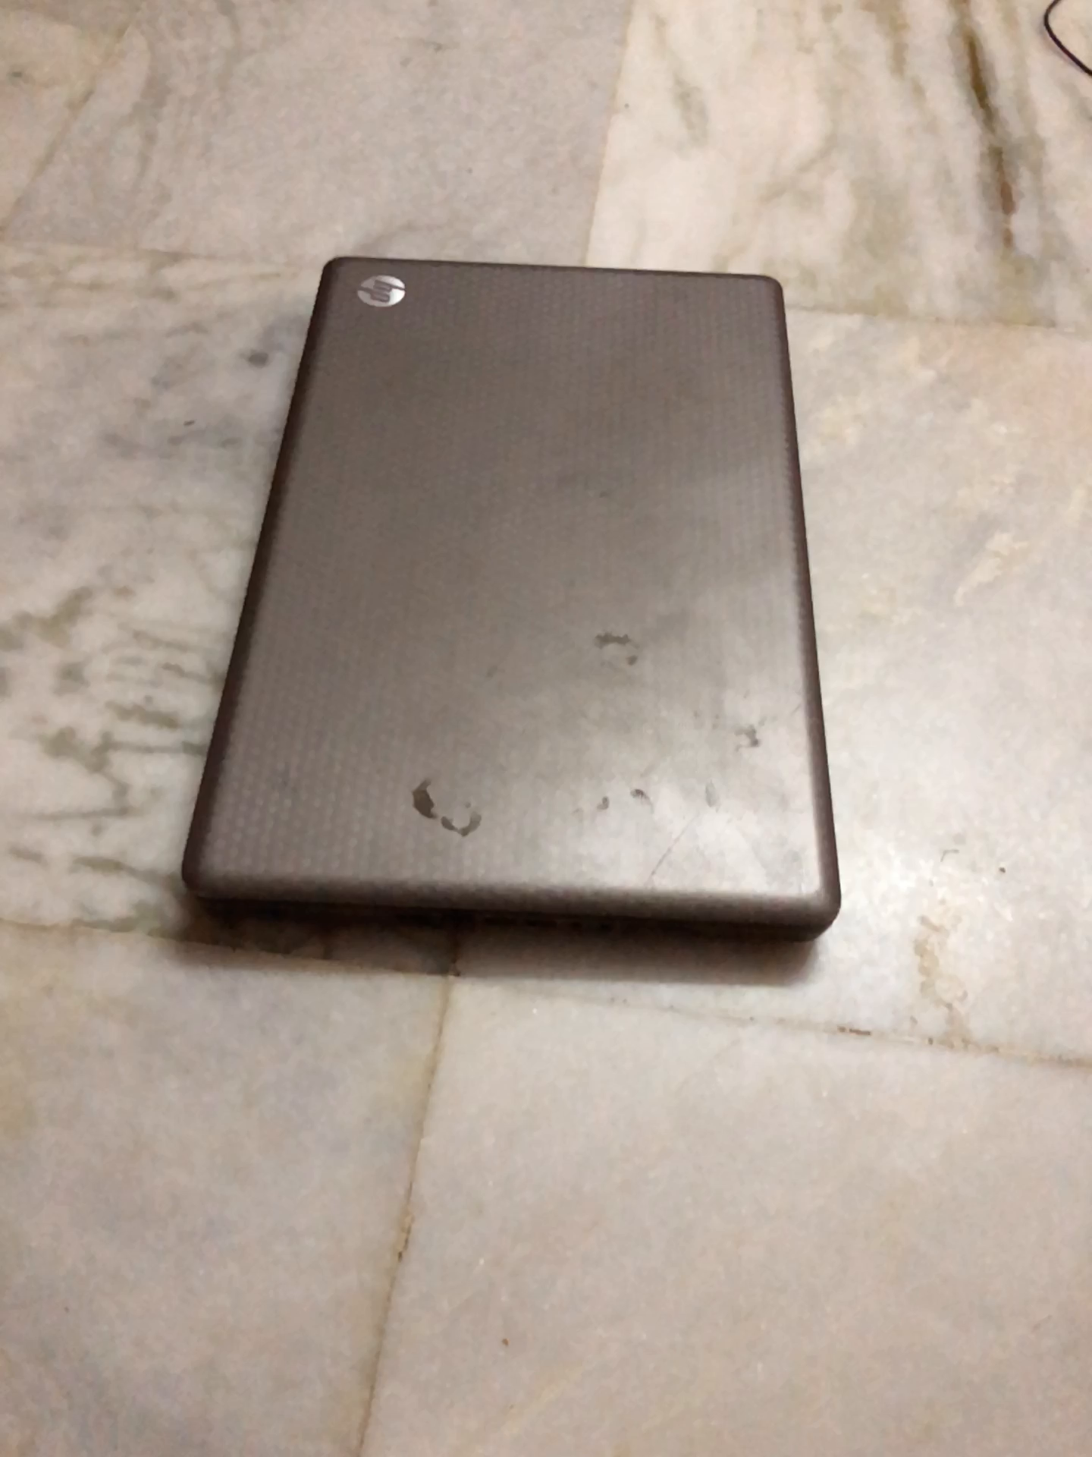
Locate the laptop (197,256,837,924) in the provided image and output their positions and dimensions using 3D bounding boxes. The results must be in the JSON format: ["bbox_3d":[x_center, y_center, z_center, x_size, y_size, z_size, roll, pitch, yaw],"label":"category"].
[{"bbox_3d":[-0.003,-0.096,0.583,0.252,0.003,0.396,3,57,0],"label":"laptop"}]
